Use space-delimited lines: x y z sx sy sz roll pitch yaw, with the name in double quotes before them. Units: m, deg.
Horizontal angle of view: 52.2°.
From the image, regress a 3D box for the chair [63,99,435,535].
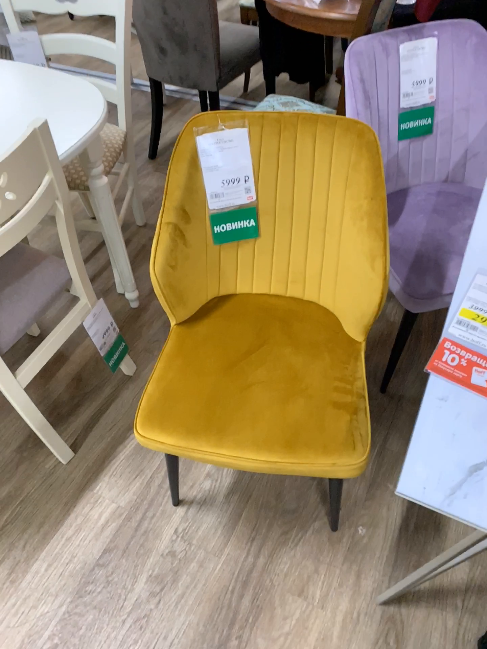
"chair" 0.047 0.045 1.156 0.500 0.885 0.503 6 49 7
